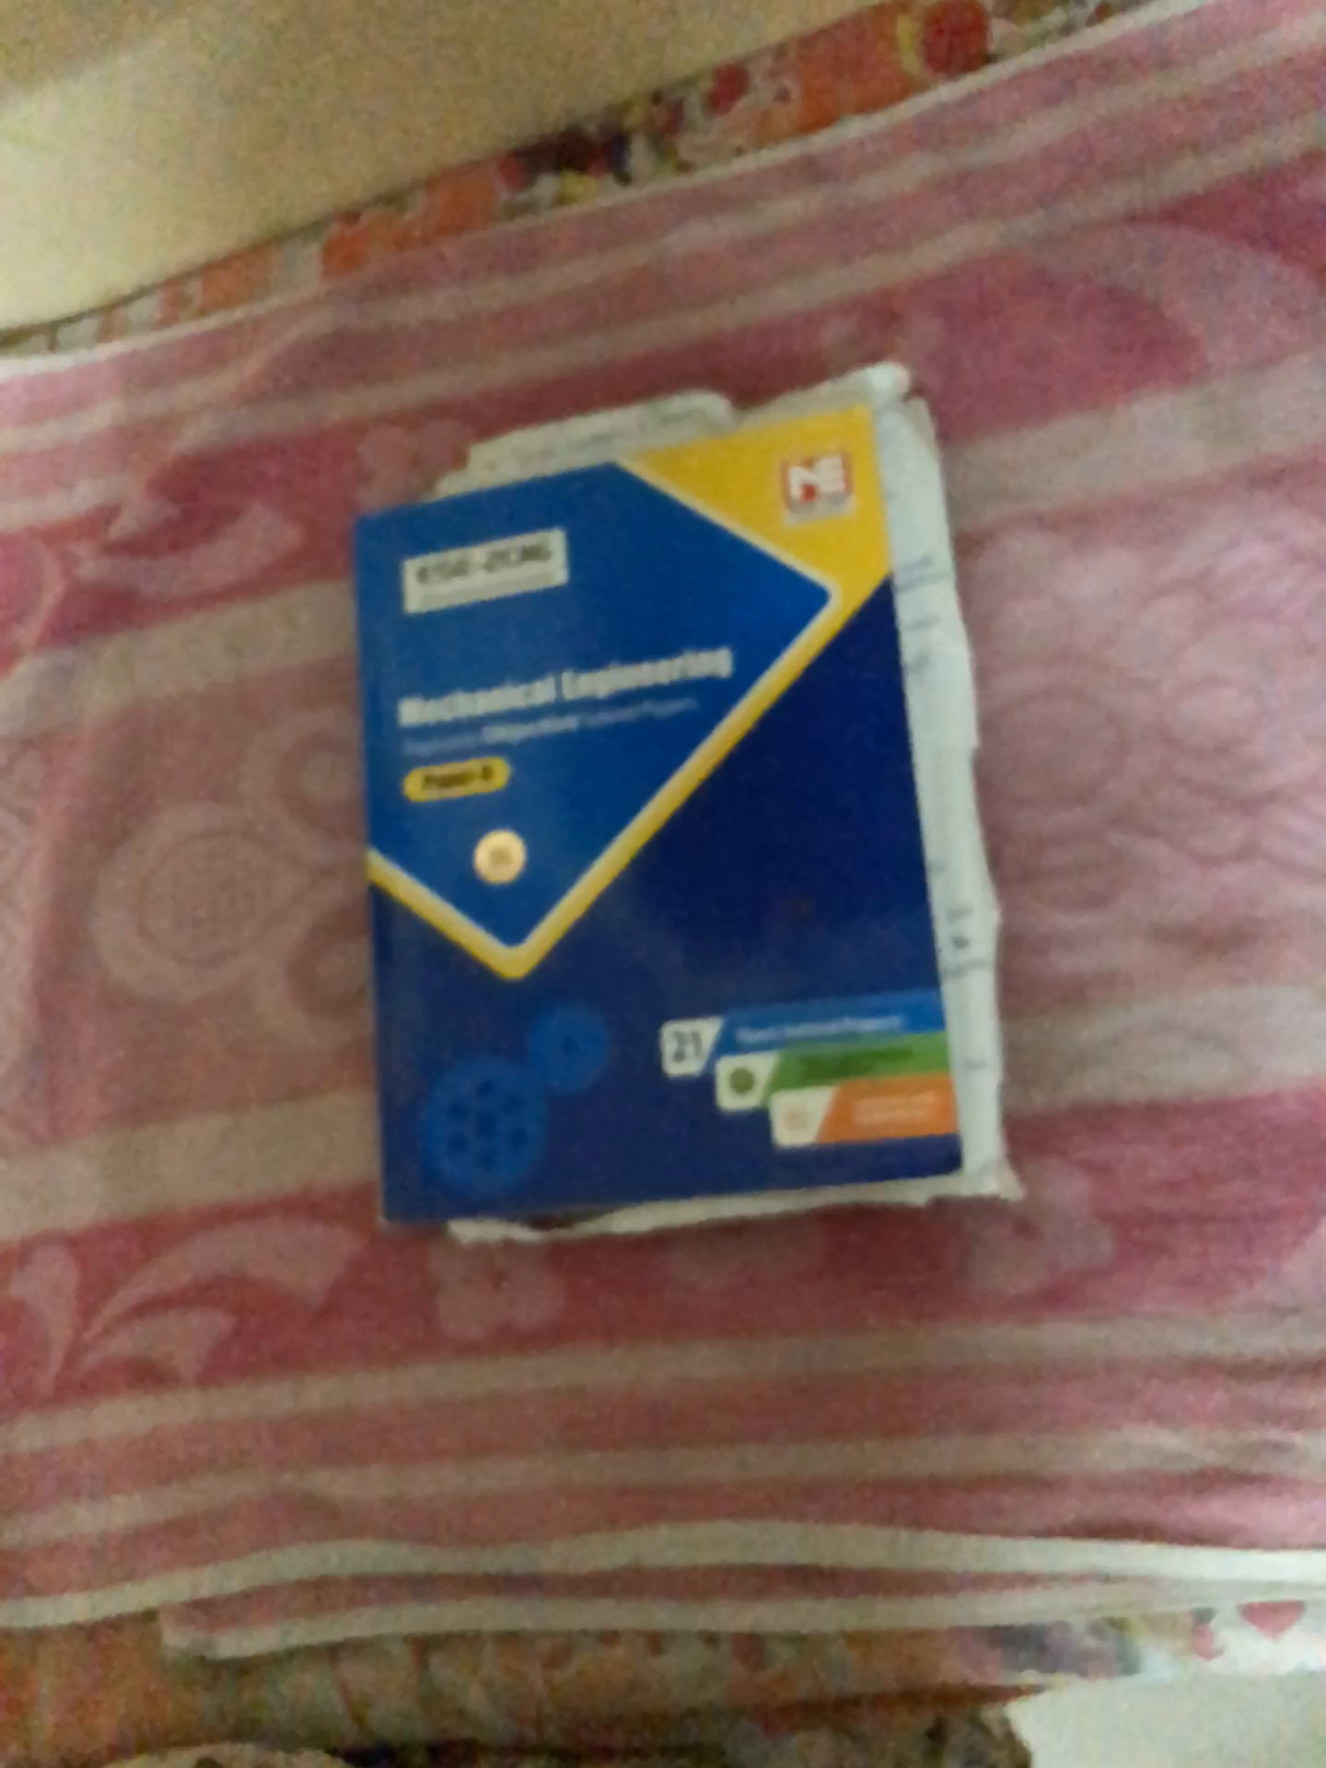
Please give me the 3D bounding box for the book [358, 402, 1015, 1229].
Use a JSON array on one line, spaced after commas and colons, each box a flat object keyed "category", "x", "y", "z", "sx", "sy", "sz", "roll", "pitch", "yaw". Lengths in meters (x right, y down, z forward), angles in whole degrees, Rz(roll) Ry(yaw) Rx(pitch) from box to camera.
[{"category": "book", "x": 0.002, "y": -0.019, "z": 0.556, "sx": 0.215, "sy": 0.055, "sz": 0.270, "roll": -8, "pitch": 78, "yaw": 15}]
